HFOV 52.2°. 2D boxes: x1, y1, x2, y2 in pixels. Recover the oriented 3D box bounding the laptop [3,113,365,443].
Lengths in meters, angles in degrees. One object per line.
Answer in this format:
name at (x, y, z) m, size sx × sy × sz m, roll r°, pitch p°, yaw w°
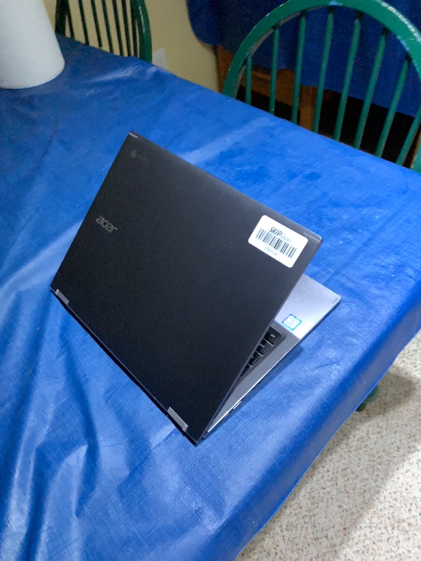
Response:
laptop at (-0.034, -0.030, 0.513) m, size 0.250 × 0.151 × 0.304 m, roll -39°, pitch 56°, yaw -22°
